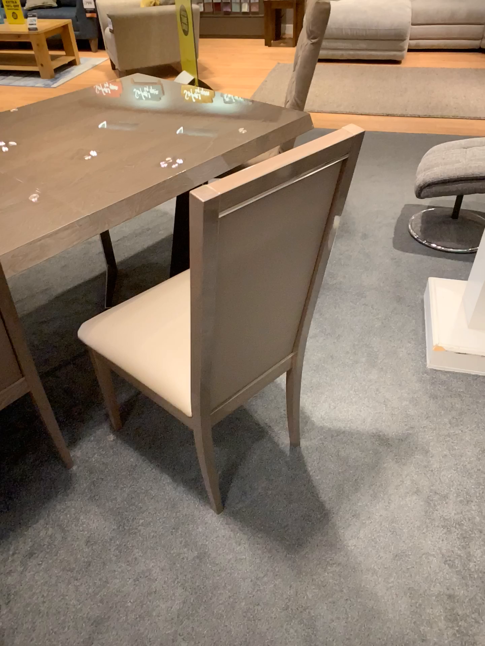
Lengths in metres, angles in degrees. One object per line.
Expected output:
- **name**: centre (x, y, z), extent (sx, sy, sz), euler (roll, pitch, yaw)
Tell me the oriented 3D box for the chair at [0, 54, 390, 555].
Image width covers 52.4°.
- **chair**: centre (-0.118, -0.026, 1.226), extent (0.500, 0.976, 0.584), euler (-32, 51, -31)
